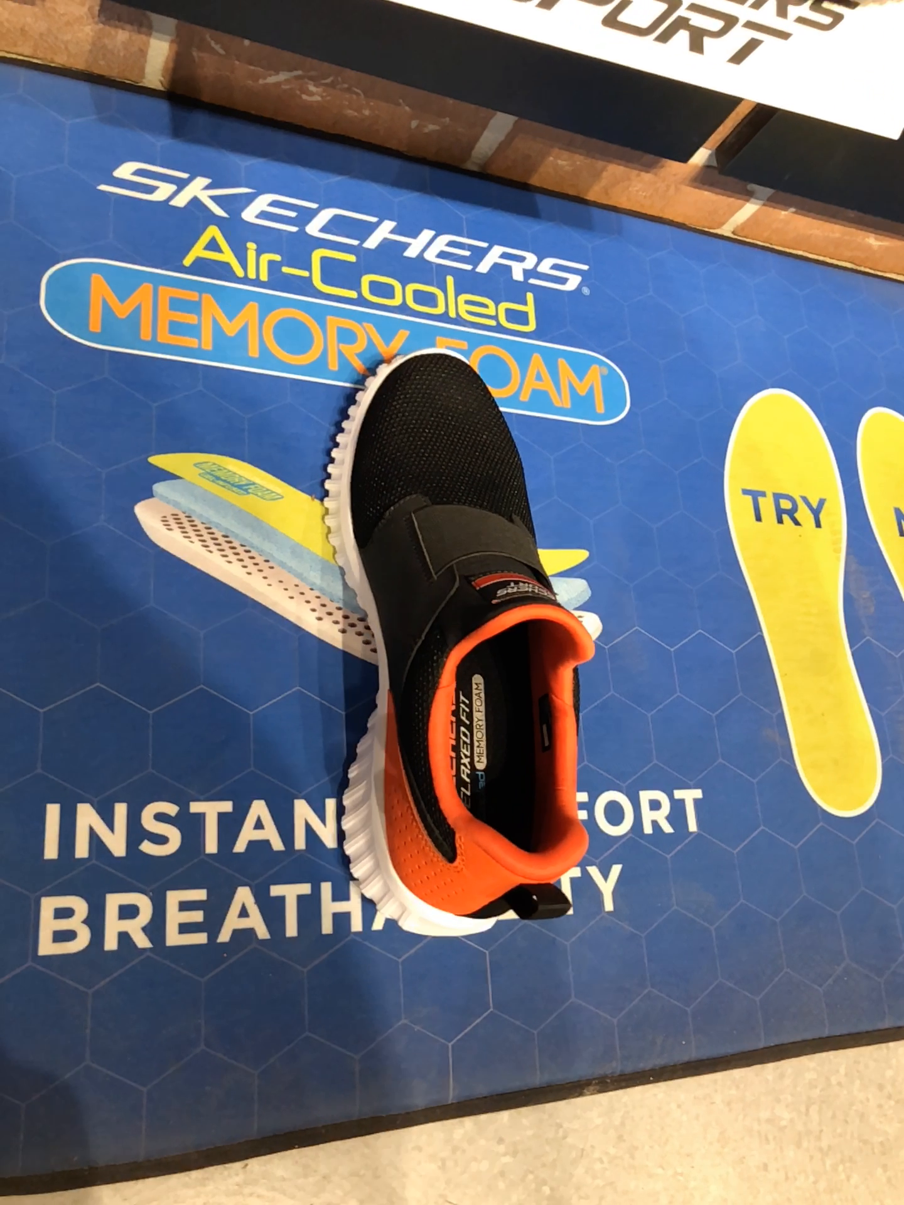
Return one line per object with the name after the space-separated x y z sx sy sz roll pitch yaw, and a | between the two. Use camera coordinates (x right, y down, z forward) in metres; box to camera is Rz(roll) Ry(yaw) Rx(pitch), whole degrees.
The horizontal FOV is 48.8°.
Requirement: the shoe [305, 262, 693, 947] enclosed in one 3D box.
0.009 0.011 0.466 0.117 0.135 0.276 6 71 -24 | shoe
